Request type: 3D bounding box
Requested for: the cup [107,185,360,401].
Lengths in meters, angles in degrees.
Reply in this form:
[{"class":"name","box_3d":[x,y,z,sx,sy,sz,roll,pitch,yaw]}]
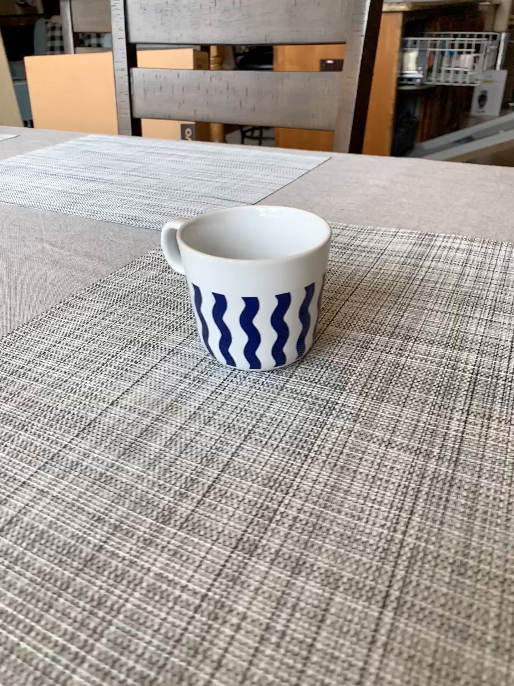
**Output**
[{"class":"cup","box_3d":[-0.014,-0.038,0.313,0.113,0.072,0.086,25,41,36]}]
